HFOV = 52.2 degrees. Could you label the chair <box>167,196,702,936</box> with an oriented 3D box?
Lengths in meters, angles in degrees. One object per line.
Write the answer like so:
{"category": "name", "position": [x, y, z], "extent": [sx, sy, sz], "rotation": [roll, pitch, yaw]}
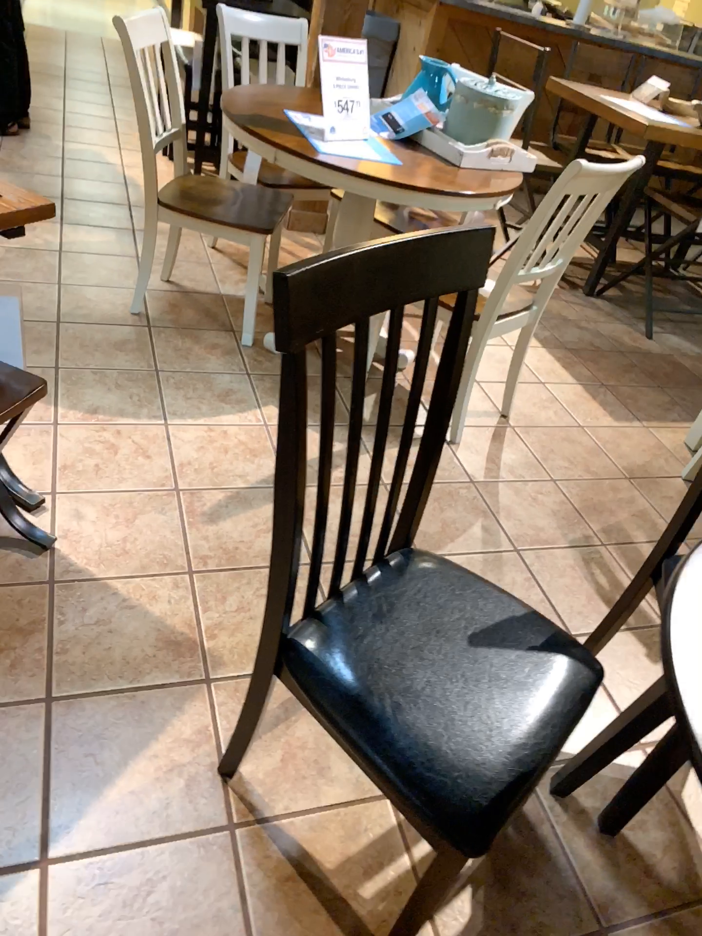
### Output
{"category": "chair", "position": [0.121, 0.185, 1.051], "extent": [0.562, 0.923, 0.455], "rotation": [35, 40, 25]}

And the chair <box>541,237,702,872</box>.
{"category": "chair", "position": [0.730, 0.183, 1.255], "extent": [0.384, 0.933, 0.544], "rotation": [12, 36, -5]}

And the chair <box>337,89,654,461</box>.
{"category": "chair", "position": [0.395, -0.592, 2.202], "extent": [0.542, 0.894, 0.465], "rotation": [36, 41, 26]}

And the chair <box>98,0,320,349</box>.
{"category": "chair", "position": [-0.478, -0.942, 2.341], "extent": [0.541, 0.903, 0.416], "rotation": [13, 36, -3]}

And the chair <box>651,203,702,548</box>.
{"category": "chair", "position": [1.430, -0.239, 2.136], "extent": [0.541, 0.894, 0.406], "rotation": [0, 39, -20]}
